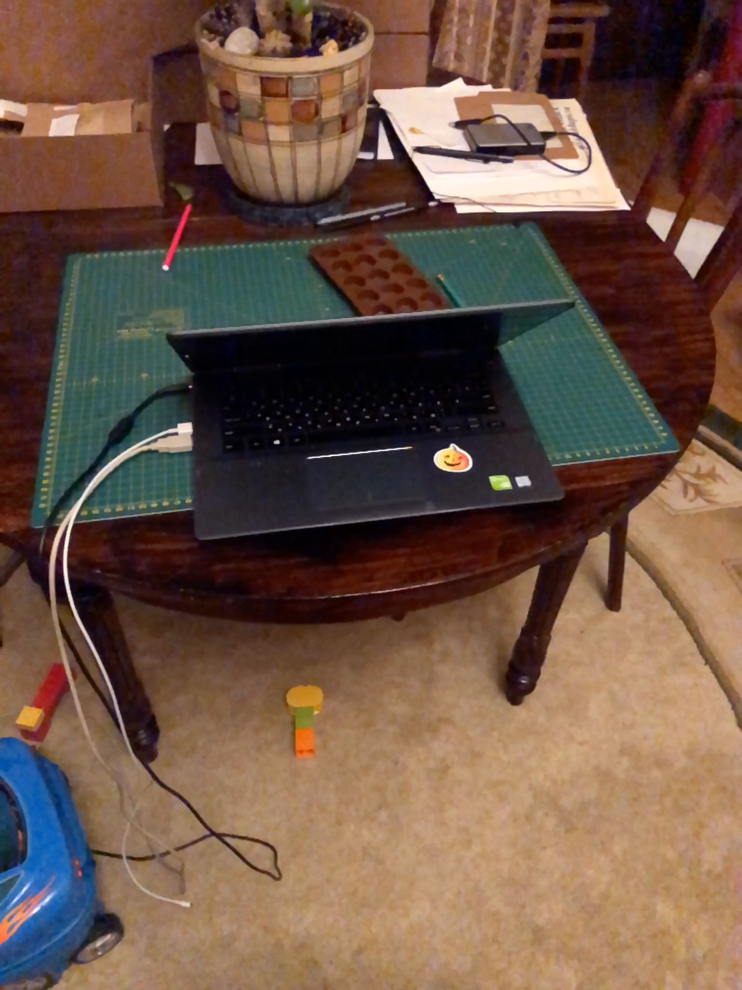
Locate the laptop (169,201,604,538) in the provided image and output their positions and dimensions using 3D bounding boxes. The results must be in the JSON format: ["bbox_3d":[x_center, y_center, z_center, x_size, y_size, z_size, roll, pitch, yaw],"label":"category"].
[{"bbox_3d":[-0.003,-0.118,0.718,0.317,0.162,0.225,-6,47,-8],"label":"laptop"}]
